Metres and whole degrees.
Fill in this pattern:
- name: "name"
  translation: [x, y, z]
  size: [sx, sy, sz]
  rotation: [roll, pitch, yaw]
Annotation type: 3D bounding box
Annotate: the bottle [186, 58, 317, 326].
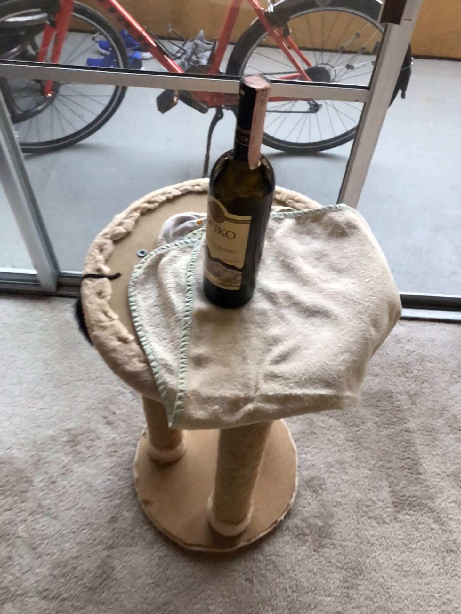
- name: "bottle"
  translation: [0.011, -0.103, 0.537]
  size: [0.080, 0.269, 0.080]
  rotation: [2, 52, -2]
